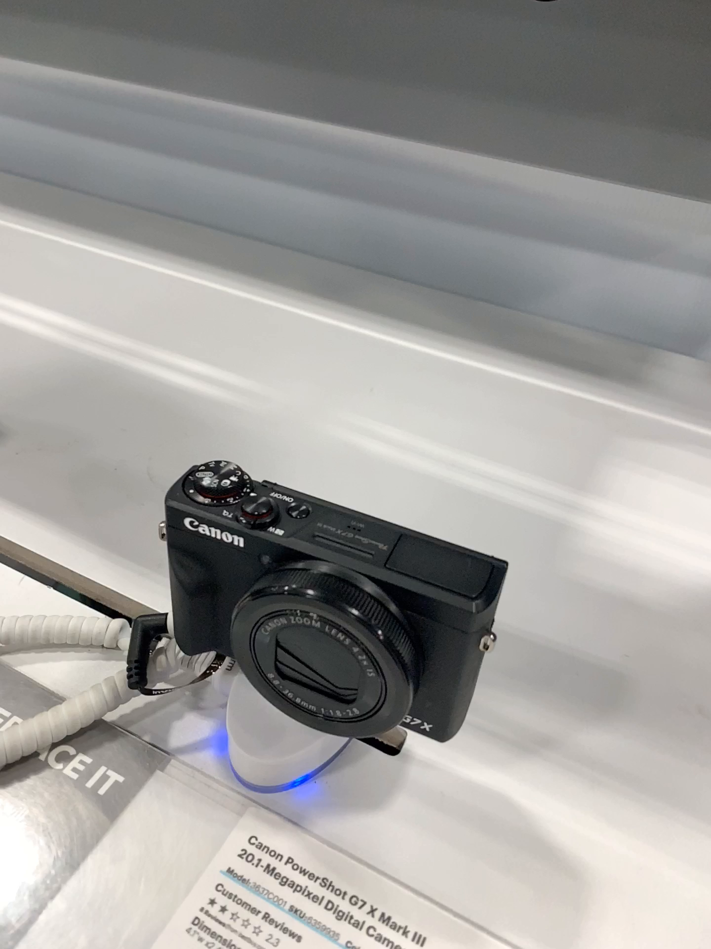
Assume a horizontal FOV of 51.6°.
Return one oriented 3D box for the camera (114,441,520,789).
[{"bbox_3d":[-0.014,0.041,0.229,0.110,0.062,0.040,18,37,15],"label":"camera"}]
